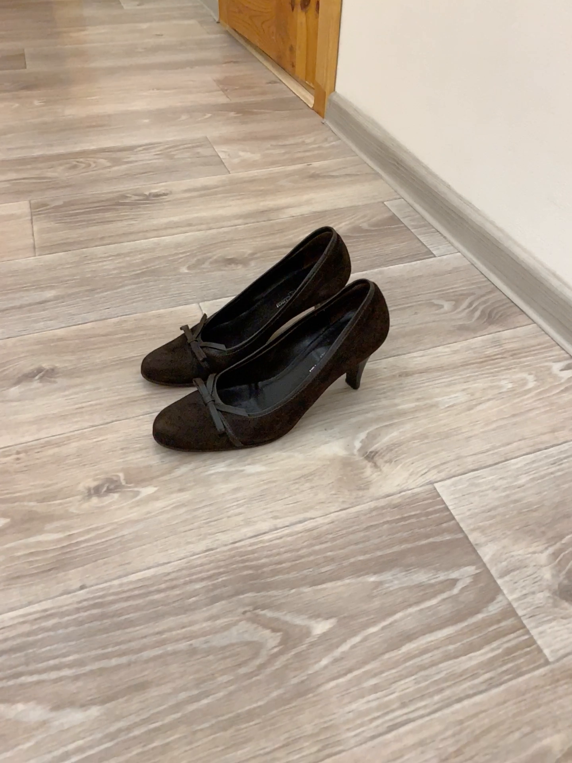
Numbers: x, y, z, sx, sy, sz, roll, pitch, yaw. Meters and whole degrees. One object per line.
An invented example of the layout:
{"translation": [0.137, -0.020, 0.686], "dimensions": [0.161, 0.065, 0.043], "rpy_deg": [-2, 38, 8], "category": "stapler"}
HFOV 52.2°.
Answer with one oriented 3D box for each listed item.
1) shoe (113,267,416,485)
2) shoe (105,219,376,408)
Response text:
{"translation": [-0.016, -0.011, 0.558], "dimensions": [0.260, 0.109, 0.080], "rpy_deg": [-19, 49, -20], "category": "shoe"}
{"translation": [-0.042, -0.077, 0.623], "dimensions": [0.260, 0.109, 0.080], "rpy_deg": [-19, 49, -19], "category": "shoe"}
